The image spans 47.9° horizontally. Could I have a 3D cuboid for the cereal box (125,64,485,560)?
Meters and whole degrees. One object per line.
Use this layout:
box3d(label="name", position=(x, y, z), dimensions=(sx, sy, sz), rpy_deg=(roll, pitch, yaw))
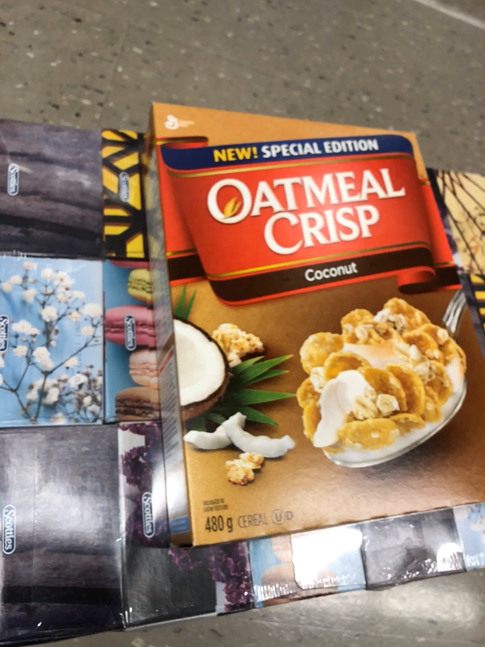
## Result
box3d(label="cereal box", position=(0.044, -0.026, 0.342), dimensions=(0.210, 0.060, 0.290), rpy_deg=(-2, 64, -16))
